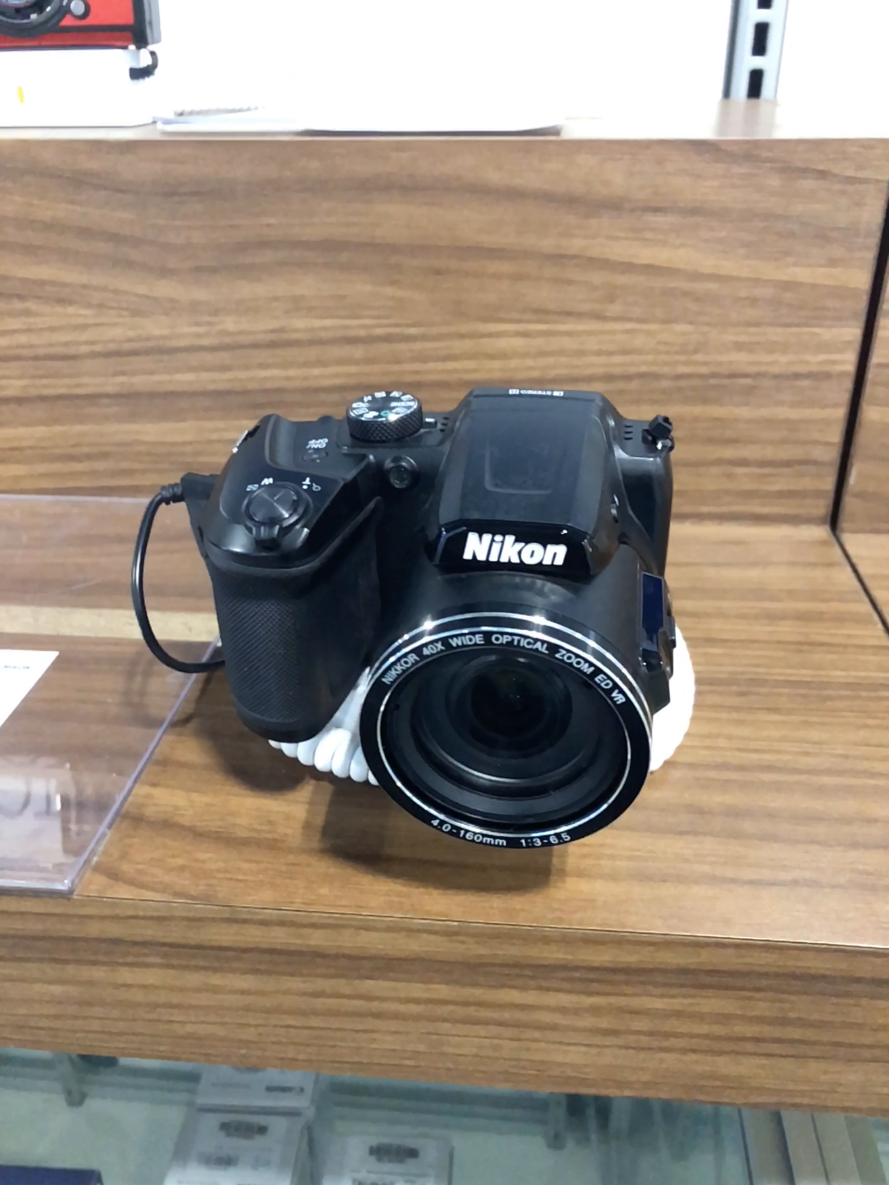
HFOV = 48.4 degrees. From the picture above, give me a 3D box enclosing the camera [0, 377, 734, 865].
[{"bbox_3d":[-0.011,-0.002,0.233,0.130,0.070,0.101,2,28,5],"label":"camera"}]
